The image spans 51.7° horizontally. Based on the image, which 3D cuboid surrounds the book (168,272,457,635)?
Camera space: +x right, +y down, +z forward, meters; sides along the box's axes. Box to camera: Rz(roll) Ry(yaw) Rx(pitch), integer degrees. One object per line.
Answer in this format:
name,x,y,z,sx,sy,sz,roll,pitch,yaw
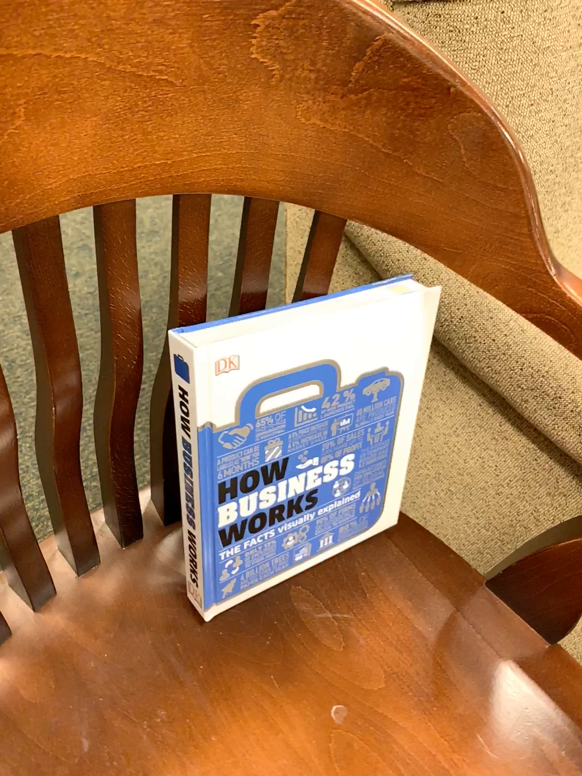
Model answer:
book,0.016,0.050,0.464,0.212,0.246,0.039,-17,38,-31
